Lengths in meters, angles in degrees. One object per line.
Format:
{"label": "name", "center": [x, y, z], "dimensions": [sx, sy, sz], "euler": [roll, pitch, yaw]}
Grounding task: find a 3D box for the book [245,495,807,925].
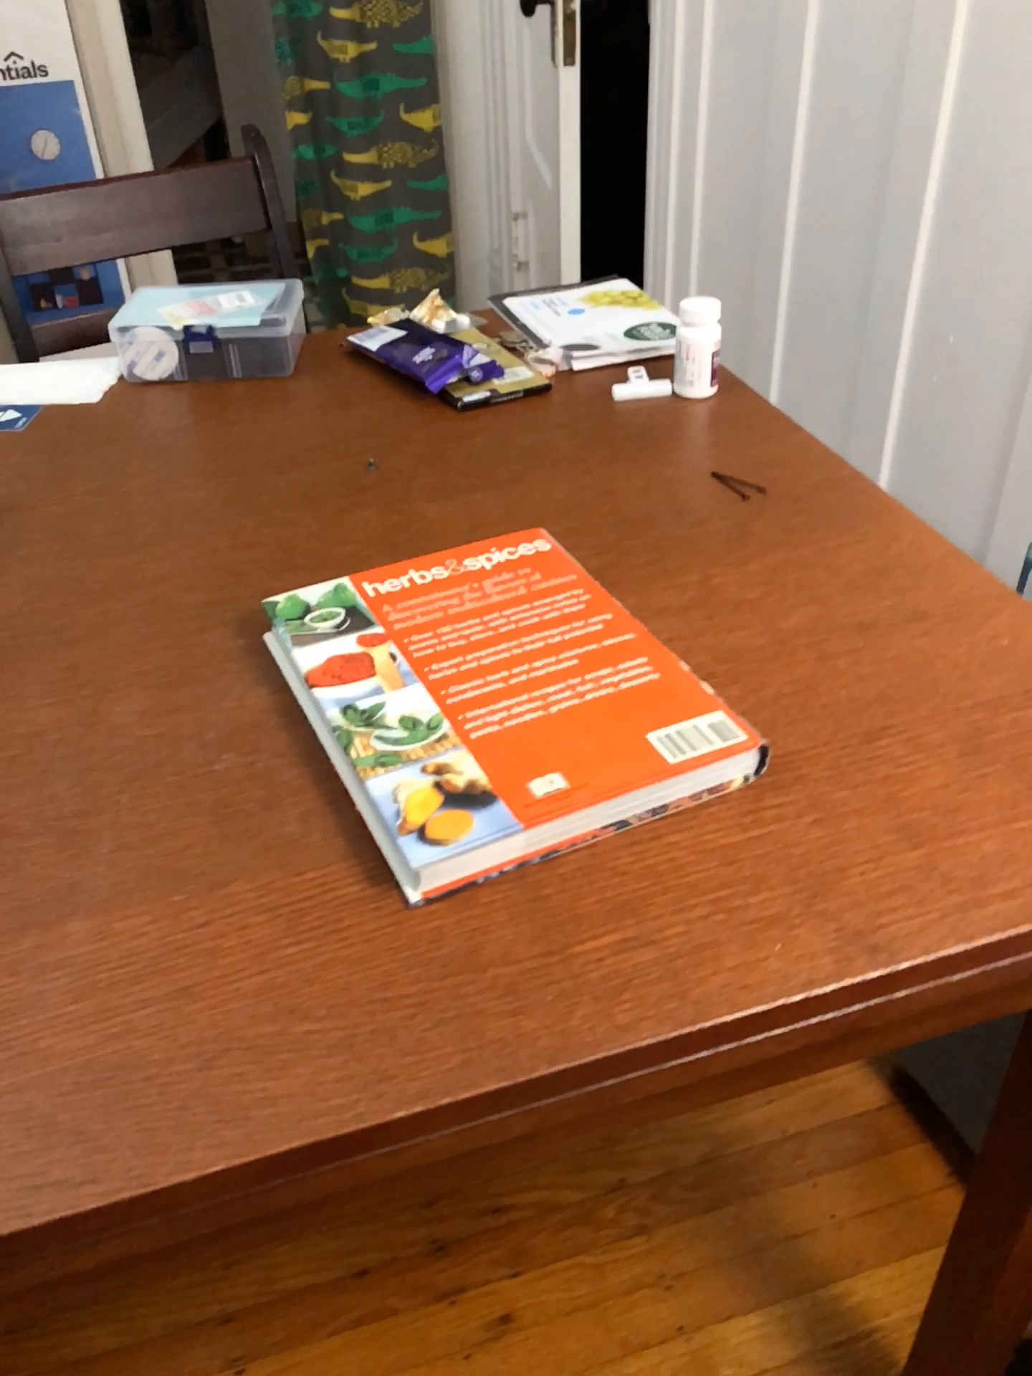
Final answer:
{"label": "book", "center": [-0.010, -0.011, 0.629], "dimensions": [0.210, 0.040, 0.271], "euler": [-17, 39, -19]}
